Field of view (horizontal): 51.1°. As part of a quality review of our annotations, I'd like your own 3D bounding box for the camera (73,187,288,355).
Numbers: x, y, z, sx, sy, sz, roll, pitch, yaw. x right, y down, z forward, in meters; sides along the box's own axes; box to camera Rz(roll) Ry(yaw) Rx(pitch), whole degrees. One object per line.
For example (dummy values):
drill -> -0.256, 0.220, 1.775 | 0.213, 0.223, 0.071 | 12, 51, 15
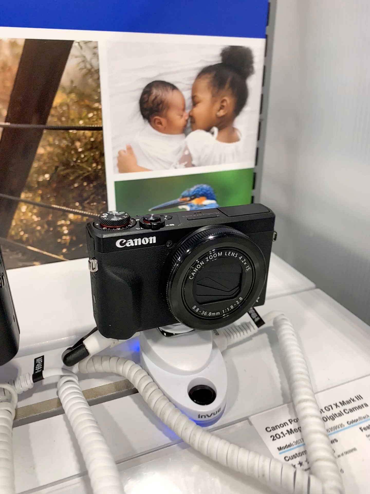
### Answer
camera -> -0.002, 0.010, 0.224 | 0.110, 0.070, 0.040 | -8, 25, -18
